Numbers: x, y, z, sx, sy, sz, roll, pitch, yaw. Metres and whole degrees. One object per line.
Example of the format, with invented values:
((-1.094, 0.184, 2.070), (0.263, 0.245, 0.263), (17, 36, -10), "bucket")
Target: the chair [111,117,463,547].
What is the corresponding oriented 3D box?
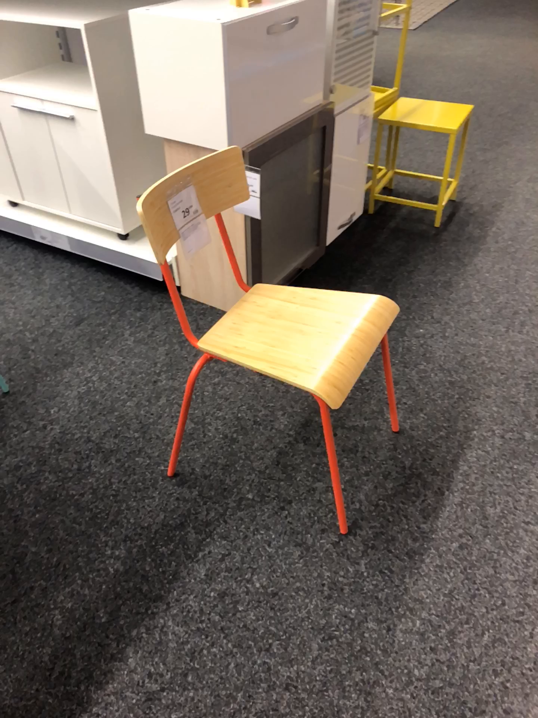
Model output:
((0.065, -0.075, 1.467), (0.560, 0.815, 0.503), (18, 43, 22), "chair")
